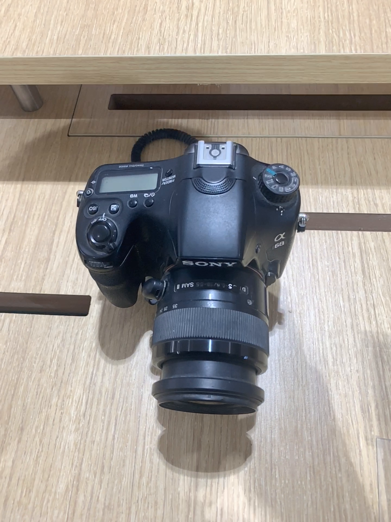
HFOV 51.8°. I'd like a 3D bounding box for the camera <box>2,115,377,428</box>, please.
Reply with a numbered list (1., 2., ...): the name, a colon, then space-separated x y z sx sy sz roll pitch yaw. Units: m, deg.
1. camera: 0.003 0.008 0.238 0.150 0.100 0.150 2 63 5
